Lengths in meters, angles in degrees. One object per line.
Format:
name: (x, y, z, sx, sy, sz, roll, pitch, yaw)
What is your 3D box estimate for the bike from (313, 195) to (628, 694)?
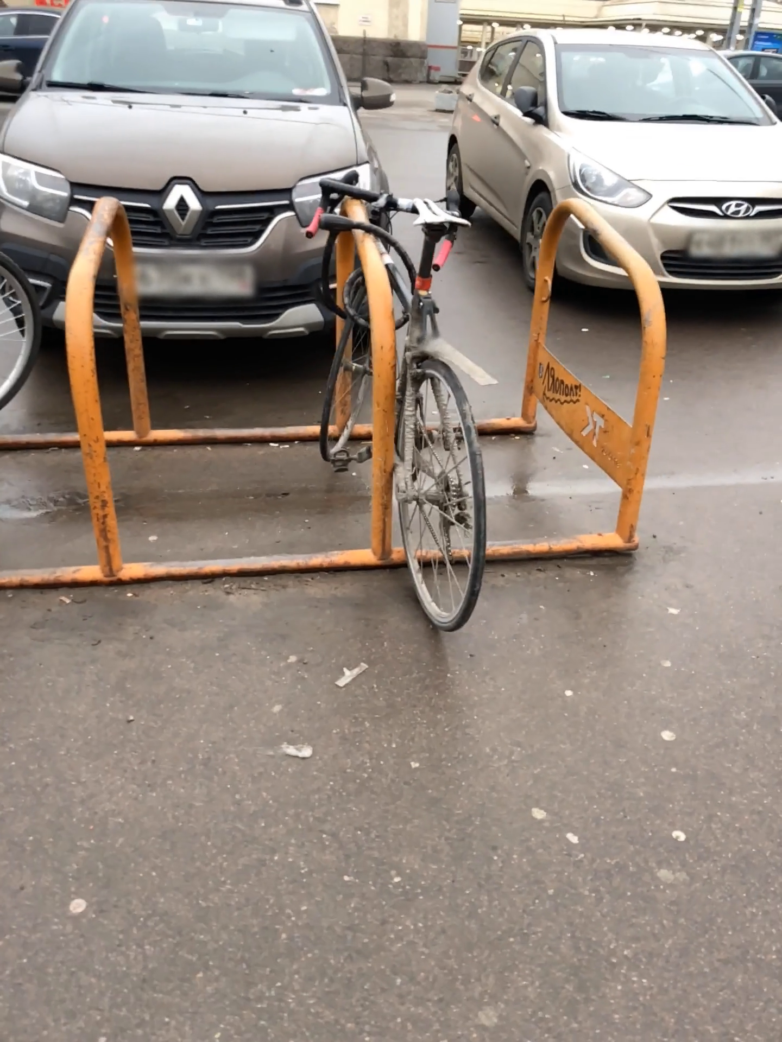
bike: (0.081, -0.364, 2.376, 0.489, 0.761, 1.525, -2, 30, -9)
